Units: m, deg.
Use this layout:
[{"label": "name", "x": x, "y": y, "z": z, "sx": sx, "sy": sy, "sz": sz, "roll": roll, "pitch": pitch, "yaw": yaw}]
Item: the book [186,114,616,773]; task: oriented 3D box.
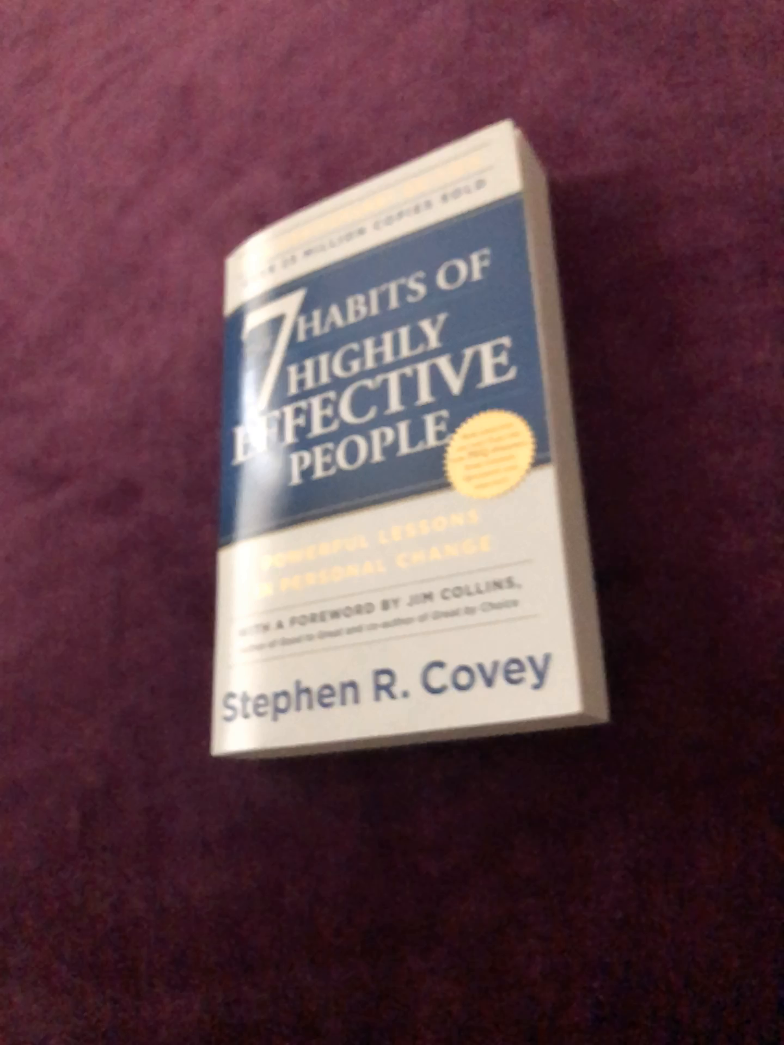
[{"label": "book", "x": -0.007, "y": -0.025, "z": 0.326, "sx": 0.147, "sy": 0.028, "sz": 0.217, "roll": -13, "pitch": 68, "yaw": 28}]
